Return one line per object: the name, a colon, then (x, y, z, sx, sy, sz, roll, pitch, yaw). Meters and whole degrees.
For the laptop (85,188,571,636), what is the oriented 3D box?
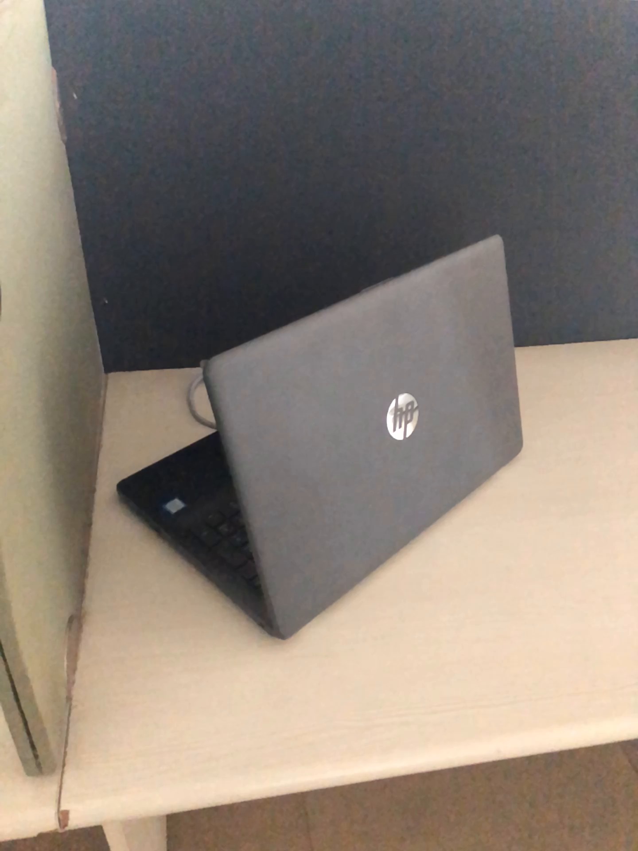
laptop: (0.018, -0.046, 0.674, 0.361, 0.215, 0.239, -30, 48, -34)
